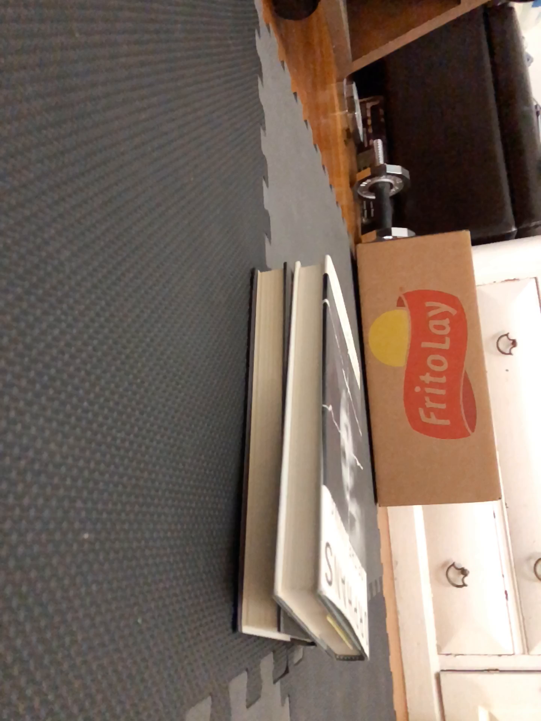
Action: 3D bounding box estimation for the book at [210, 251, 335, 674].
[{"bbox_3d":[0.009,0.075,0.414,0.160,0.030,0.250,55,31,-59],"label":"book"}]

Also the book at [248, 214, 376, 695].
[{"bbox_3d":[0.039,0.061,0.417,0.180,0.030,0.281,64,24,-49],"label":"book"}]
